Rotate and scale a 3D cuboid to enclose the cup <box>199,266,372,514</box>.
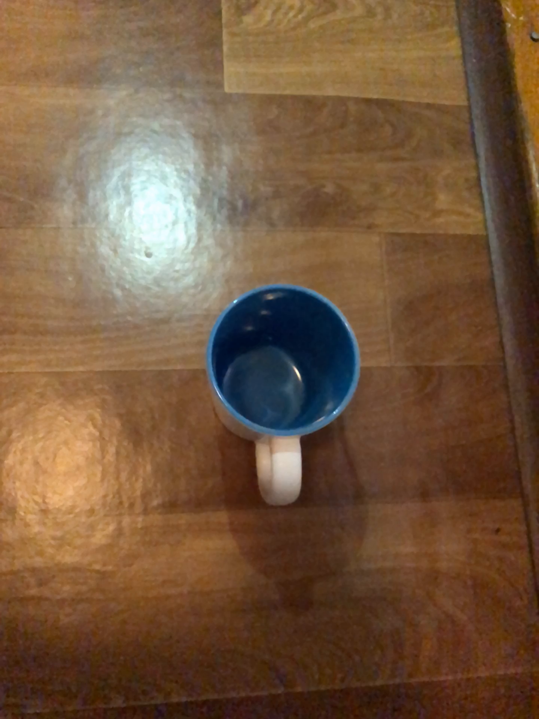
[{"bbox_3d":[0.004,0.026,0.373,0.088,0.113,0.129,3,77,-6],"label":"cup"}]
